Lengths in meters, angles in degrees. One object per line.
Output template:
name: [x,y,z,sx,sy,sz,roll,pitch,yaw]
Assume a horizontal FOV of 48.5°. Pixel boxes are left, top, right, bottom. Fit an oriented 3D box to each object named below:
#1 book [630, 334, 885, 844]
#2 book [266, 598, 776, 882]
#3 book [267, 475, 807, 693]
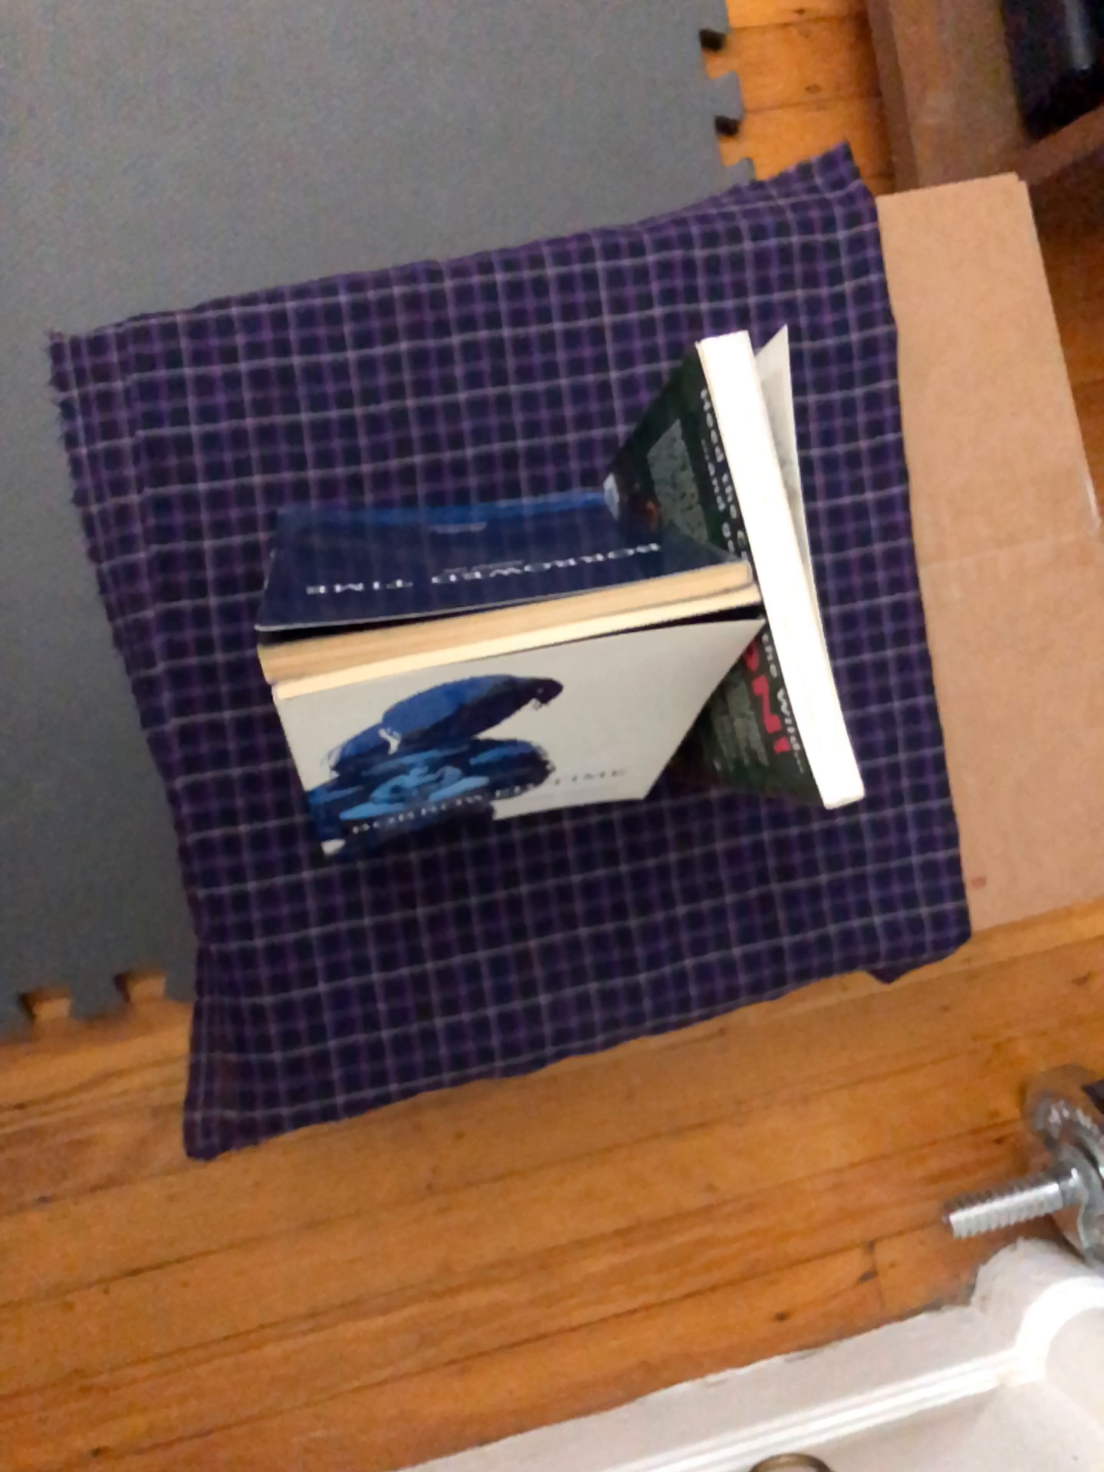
book: [0.063,-0.043,0.435,0.020,0.190,0.140,-13,92,-2]
book: [-0.017,0.011,0.426,0.140,0.200,0.010,-12,73,-10]
book: [-0.020,-0.062,0.428,0.150,0.200,0.010,-9,112,-8]
